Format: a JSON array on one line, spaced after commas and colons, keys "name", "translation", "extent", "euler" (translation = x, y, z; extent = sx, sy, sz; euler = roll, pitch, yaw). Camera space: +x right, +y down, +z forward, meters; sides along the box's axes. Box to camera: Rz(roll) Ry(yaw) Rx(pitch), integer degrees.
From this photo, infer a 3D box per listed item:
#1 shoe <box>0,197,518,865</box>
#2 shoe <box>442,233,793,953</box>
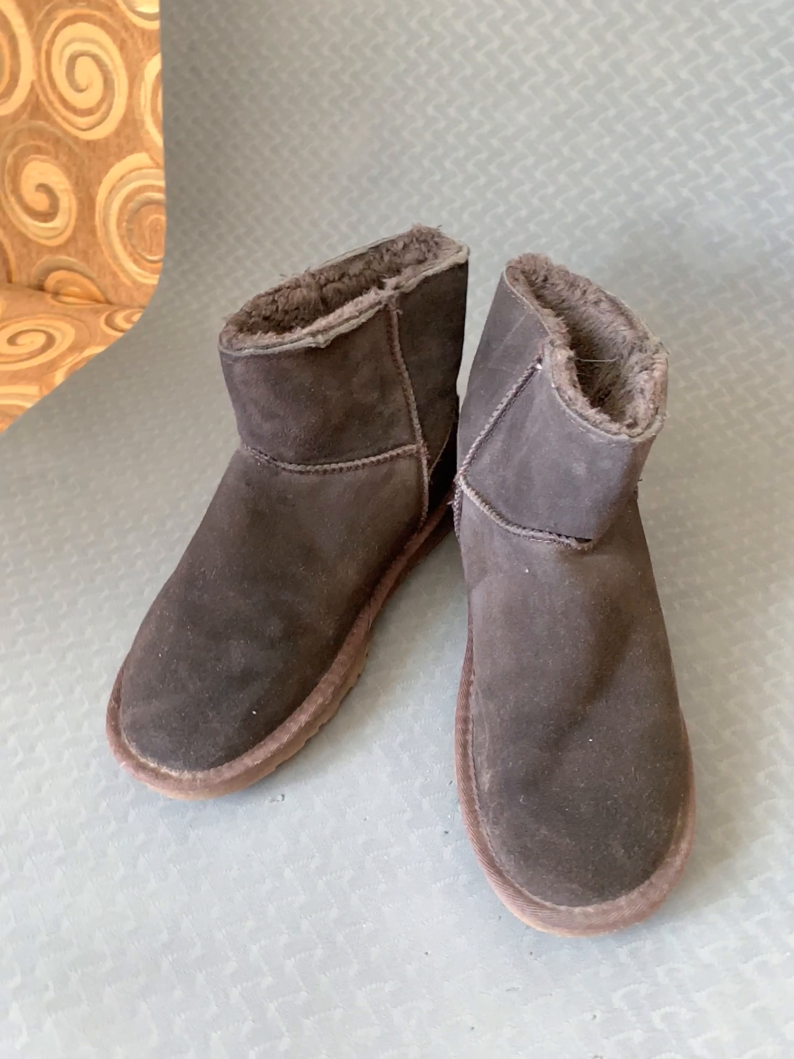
[{"name": "shoe", "translation": [-0.047, -0.014, 0.365], "extent": [0.100, 0.139, 0.254], "euler": [21, 53, 20]}, {"name": "shoe", "translation": [0.074, 0.013, 0.331], "extent": [0.100, 0.139, 0.254], "euler": [-2, 49, 2]}]
